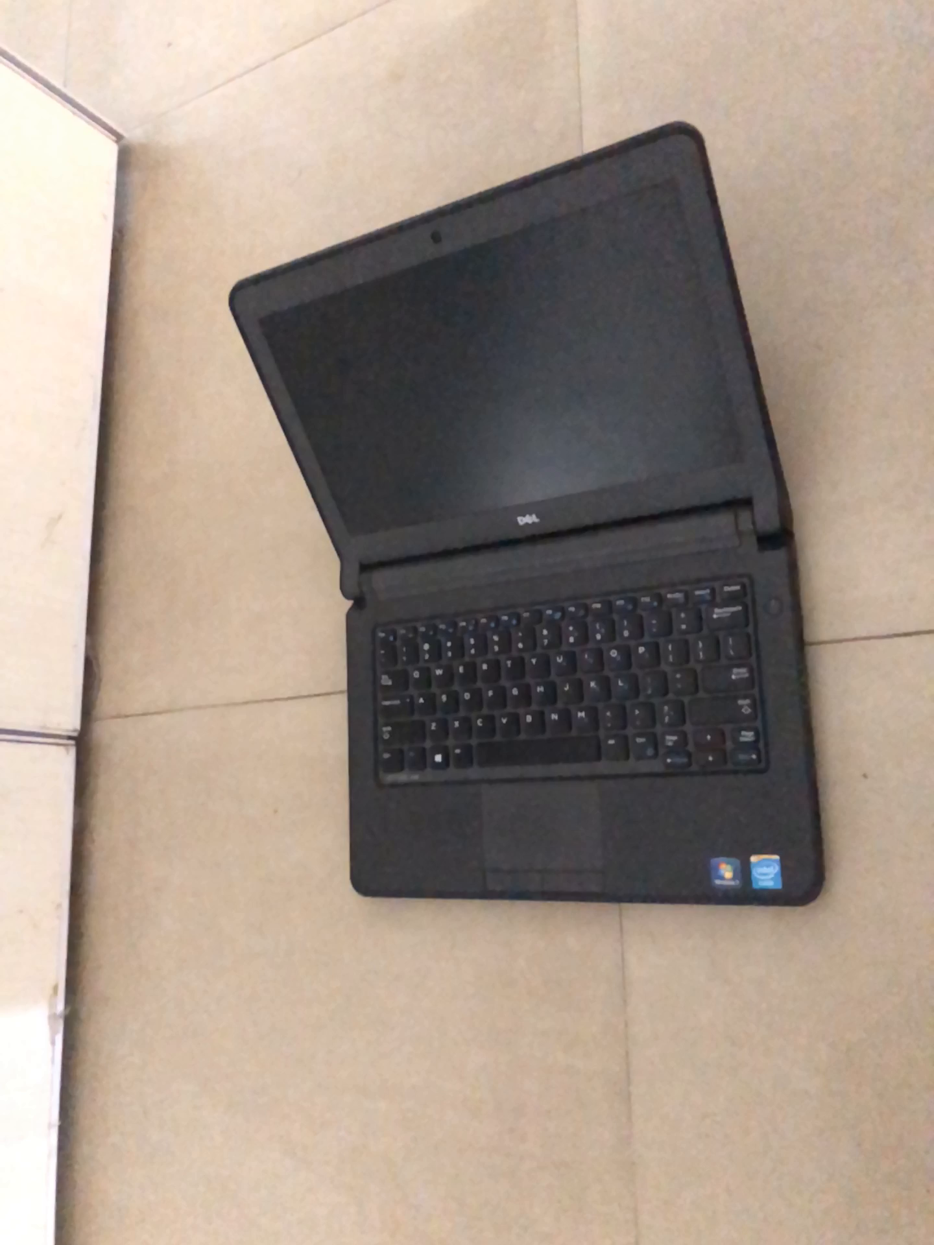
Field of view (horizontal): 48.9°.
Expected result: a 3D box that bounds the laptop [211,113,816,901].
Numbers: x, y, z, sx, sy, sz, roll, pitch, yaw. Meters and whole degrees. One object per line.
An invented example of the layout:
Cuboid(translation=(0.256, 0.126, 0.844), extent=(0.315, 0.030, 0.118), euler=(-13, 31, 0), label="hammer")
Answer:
Cuboid(translation=(0.019, -0.038, 0.632), extent=(0.313, 0.154, 0.392), euler=(-8, 76, 30), label="laptop")
